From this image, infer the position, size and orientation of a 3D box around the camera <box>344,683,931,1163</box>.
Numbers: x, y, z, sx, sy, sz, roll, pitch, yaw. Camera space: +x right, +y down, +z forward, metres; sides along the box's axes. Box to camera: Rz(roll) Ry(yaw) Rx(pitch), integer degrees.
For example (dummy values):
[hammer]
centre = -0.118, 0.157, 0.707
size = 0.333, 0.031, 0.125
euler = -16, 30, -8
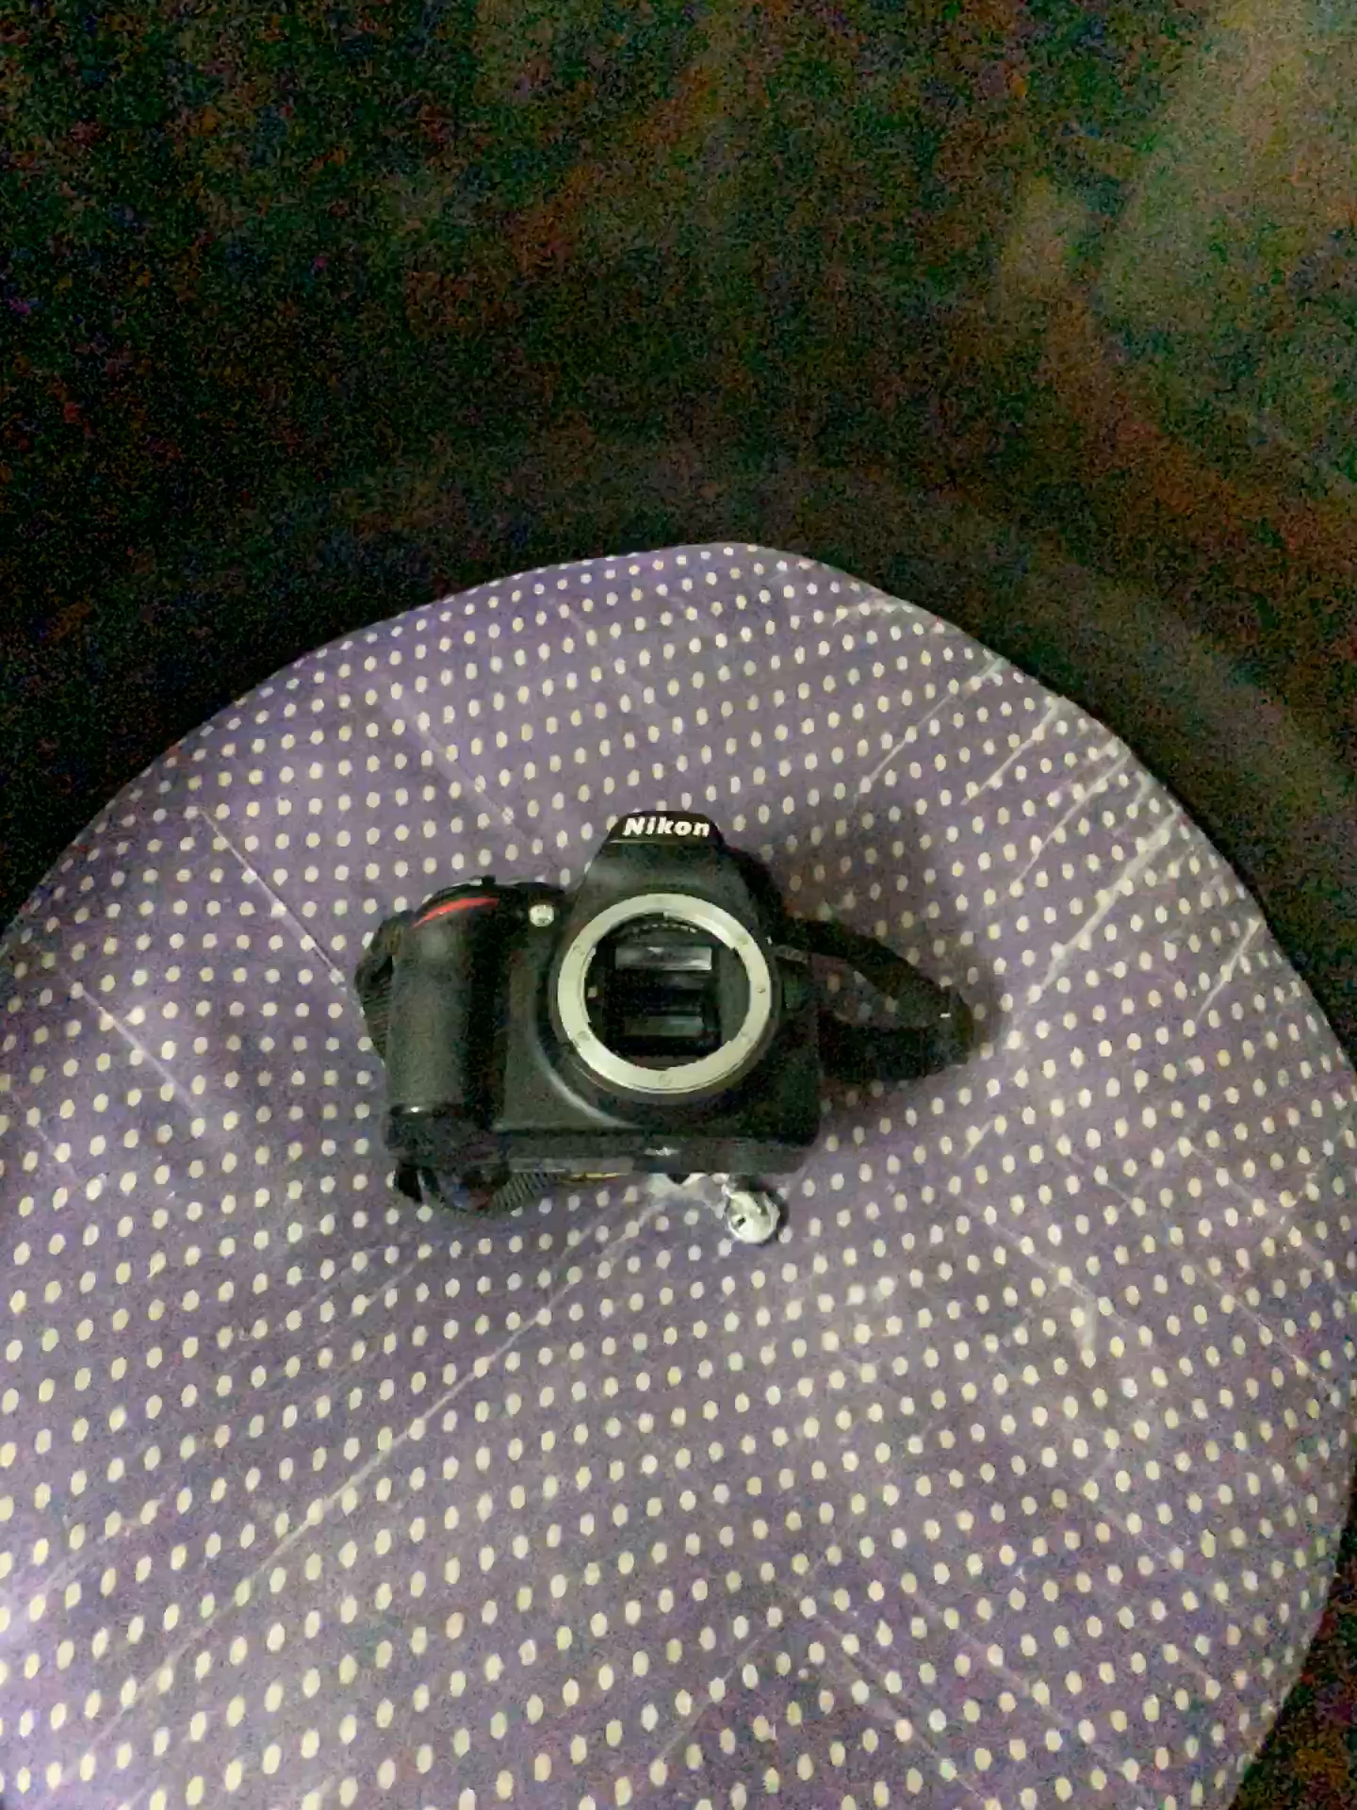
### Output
[camera]
centre = -0.014, 0.007, 0.389
size = 0.140, 0.080, 0.110
euler = 0, 67, -5
